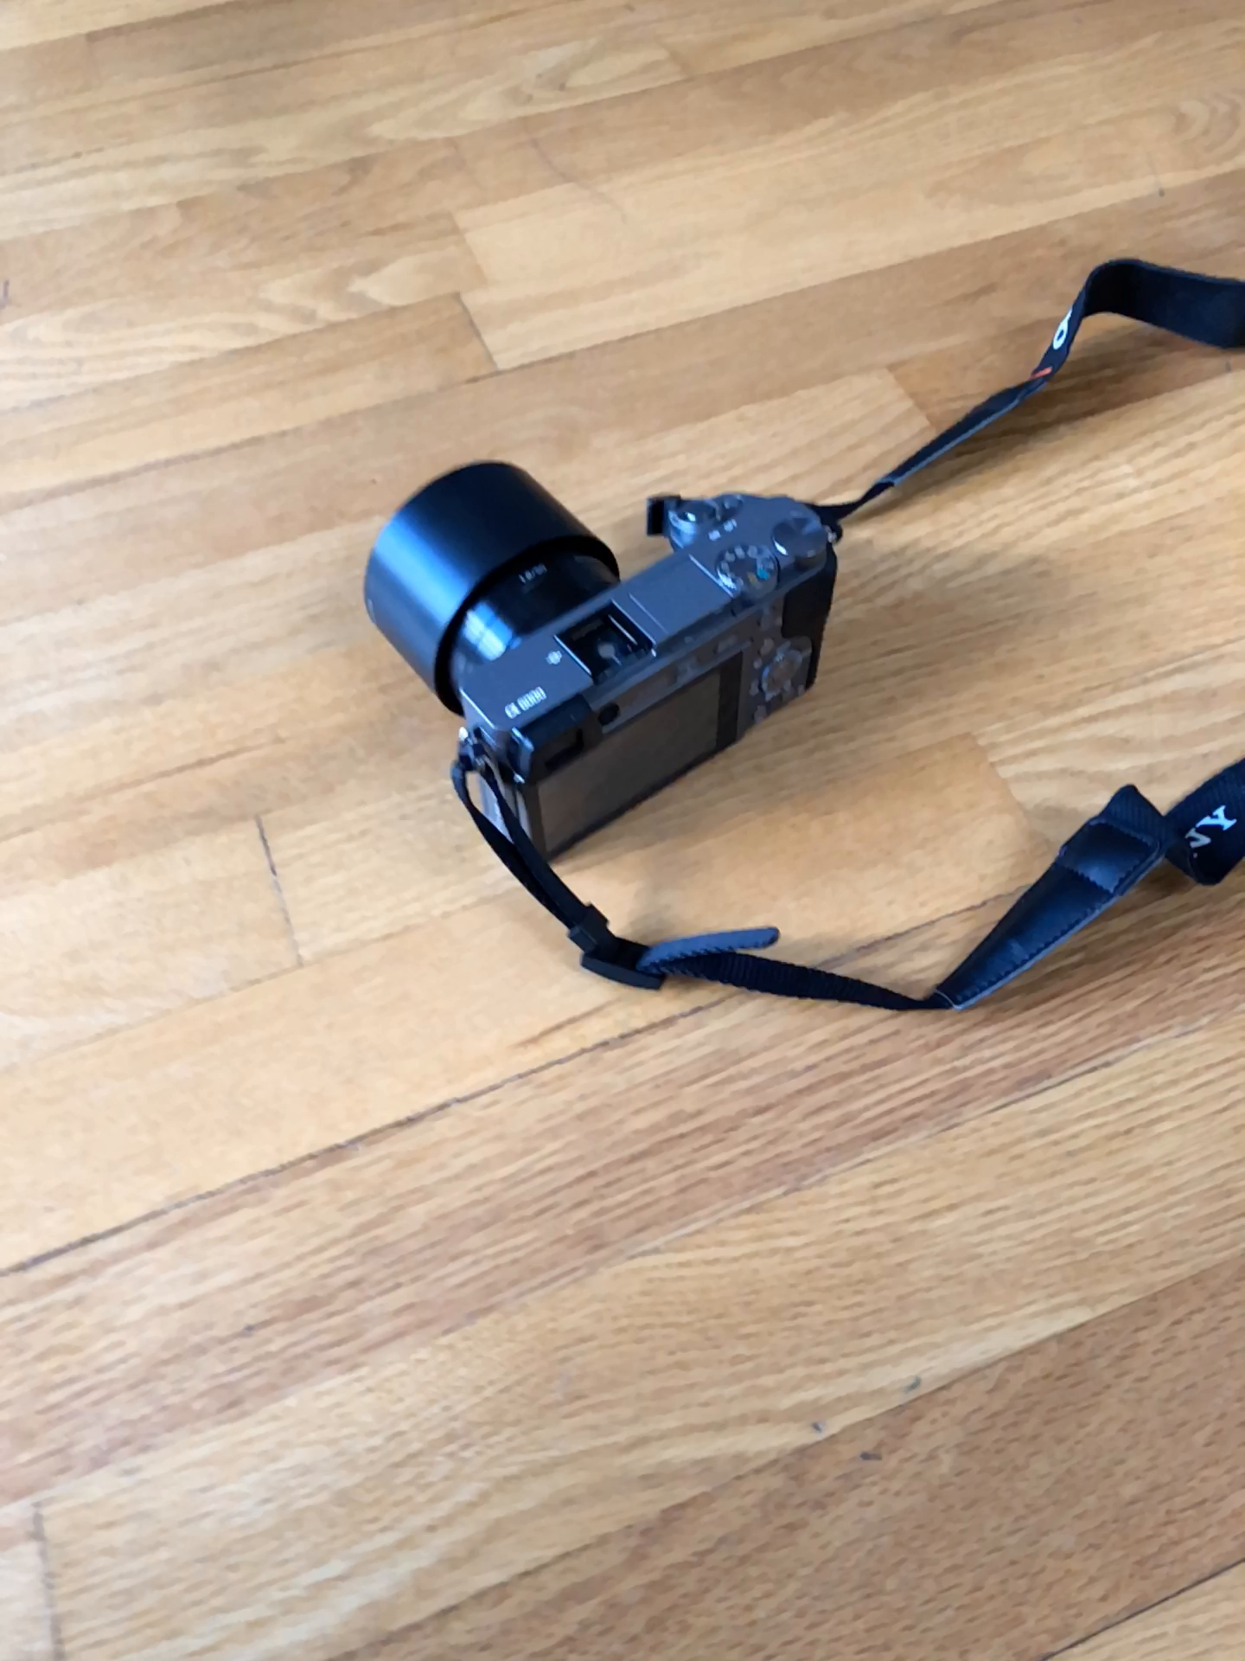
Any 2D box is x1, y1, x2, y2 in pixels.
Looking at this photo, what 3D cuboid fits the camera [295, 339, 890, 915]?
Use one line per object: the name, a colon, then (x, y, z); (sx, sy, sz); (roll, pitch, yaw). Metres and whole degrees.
camera: (-0.008, -0.066, 0.431); (0.136, 0.079, 0.107); (-34, 63, -19)
